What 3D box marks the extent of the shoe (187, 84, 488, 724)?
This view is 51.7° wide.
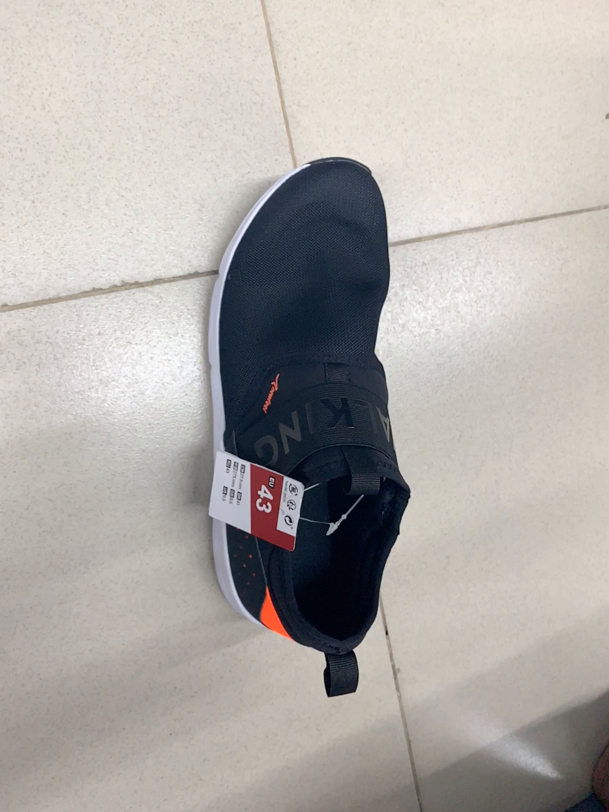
[{"bbox_3d":[0.008,0.001,0.350,0.110,0.120,0.280,2,93,-21],"label":"shoe"}]
